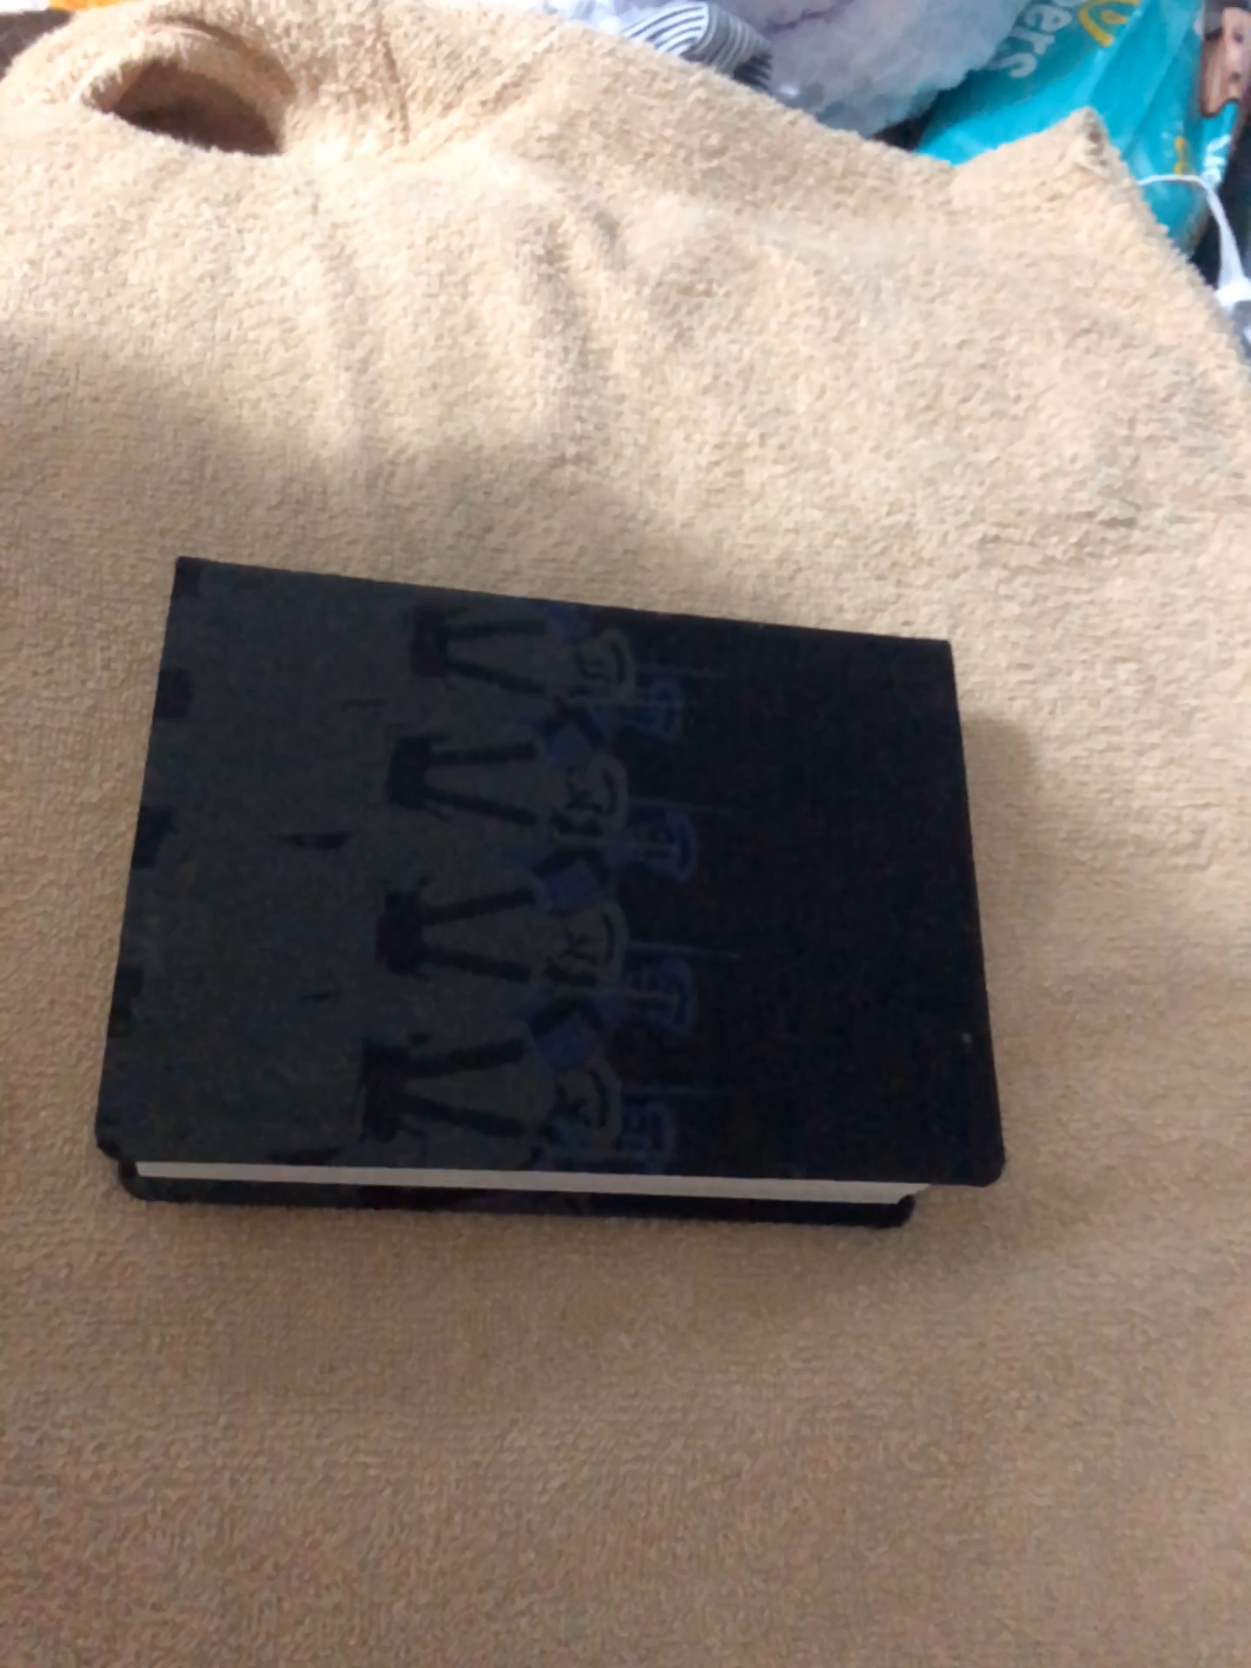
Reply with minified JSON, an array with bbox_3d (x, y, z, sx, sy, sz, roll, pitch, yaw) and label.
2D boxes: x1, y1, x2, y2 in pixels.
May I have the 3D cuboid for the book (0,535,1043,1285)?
[{"bbox_3d":[-0.018,0.020,0.301,0.190,0.050,0.140,5,66,-11],"label":"book"}]
